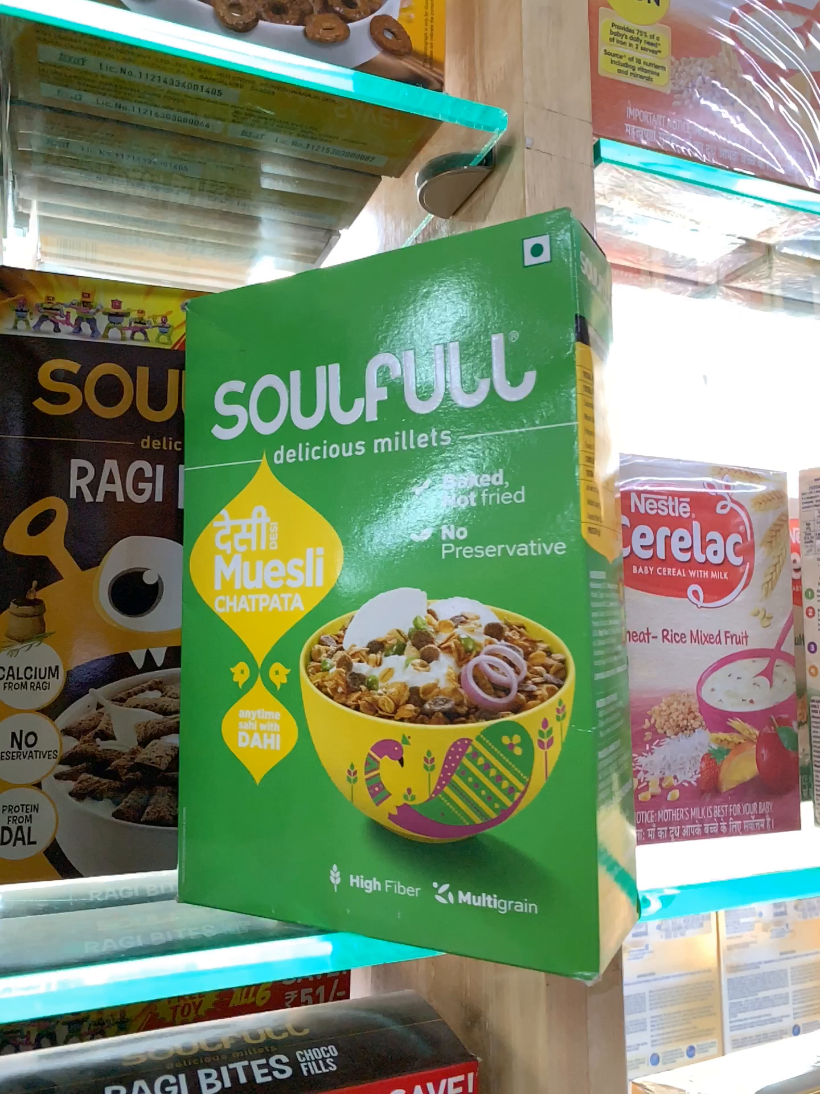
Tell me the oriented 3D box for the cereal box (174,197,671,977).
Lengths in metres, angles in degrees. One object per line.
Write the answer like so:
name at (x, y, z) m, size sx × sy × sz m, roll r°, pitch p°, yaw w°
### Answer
cereal box at (0.000, 0.012, 0.303) m, size 0.160 × 0.221 × 0.060 m, roll -4°, pitch -7°, yaw 27°
